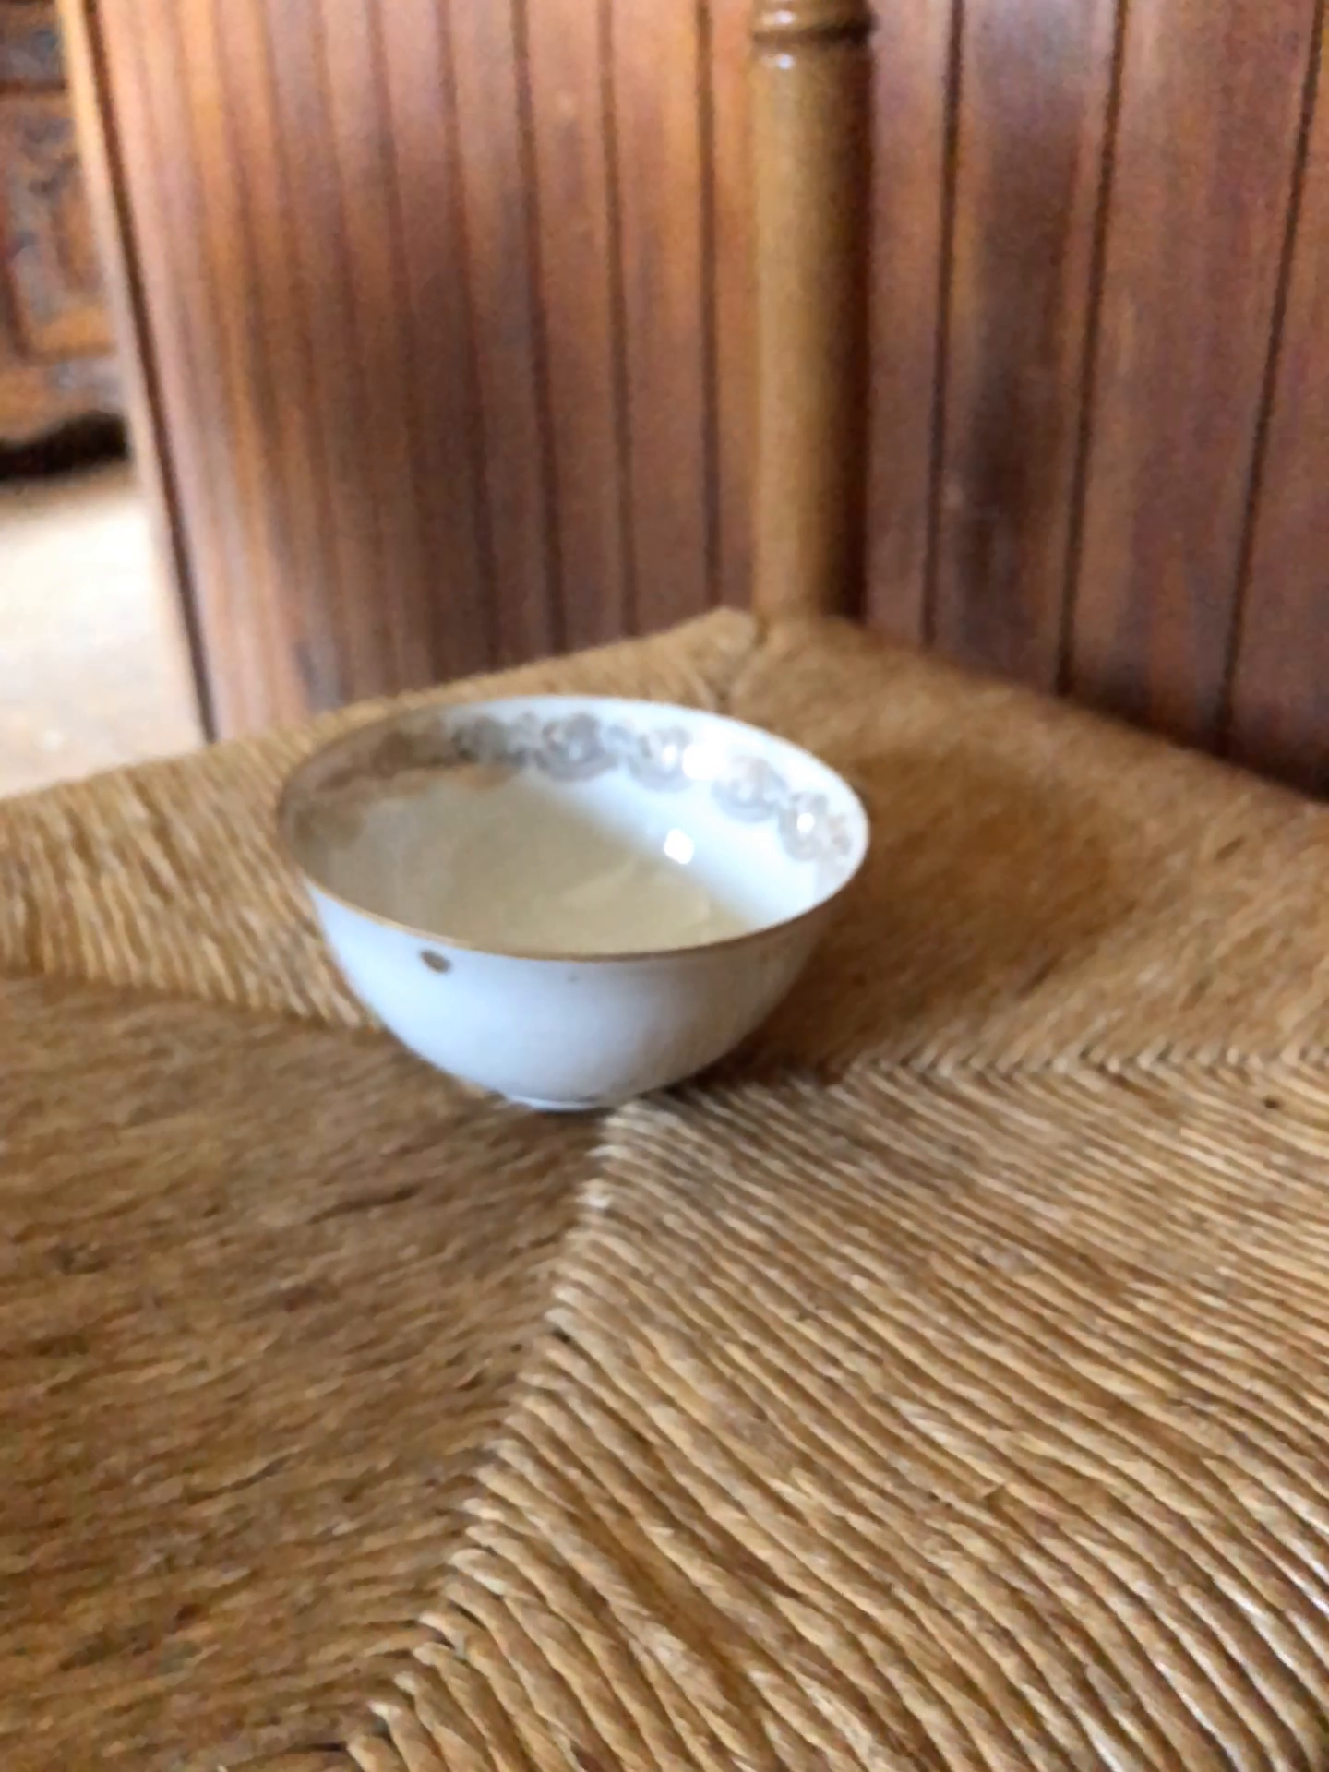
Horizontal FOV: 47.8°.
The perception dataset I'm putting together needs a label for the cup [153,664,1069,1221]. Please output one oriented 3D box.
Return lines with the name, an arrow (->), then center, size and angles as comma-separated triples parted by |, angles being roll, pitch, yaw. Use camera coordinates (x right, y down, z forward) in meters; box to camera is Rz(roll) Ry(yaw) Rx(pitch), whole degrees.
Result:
cup -> -0.016, -0.003, 0.313 | 0.140, 0.040, 0.130 | 2, 24, -1
